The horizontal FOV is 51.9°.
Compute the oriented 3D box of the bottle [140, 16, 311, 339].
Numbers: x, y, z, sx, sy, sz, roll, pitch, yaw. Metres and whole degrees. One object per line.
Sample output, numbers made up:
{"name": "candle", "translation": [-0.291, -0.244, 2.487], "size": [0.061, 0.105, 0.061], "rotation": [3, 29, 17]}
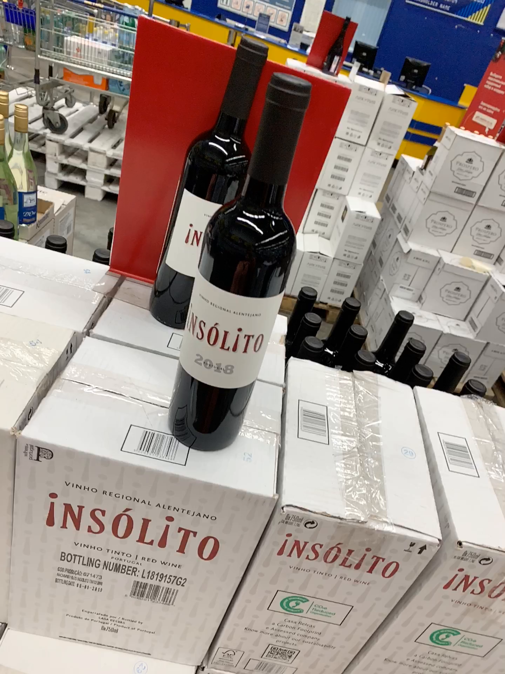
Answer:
{"name": "bottle", "translation": [-0.047, -0.151, 0.568], "size": [0.090, 0.318, 0.090], "rotation": [14, 37, -11]}

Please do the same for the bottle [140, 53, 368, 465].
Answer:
{"name": "bottle", "translation": [-0.009, -0.047, 0.422], "size": [0.090, 0.308, 0.091], "rotation": [13, 33, -8]}
